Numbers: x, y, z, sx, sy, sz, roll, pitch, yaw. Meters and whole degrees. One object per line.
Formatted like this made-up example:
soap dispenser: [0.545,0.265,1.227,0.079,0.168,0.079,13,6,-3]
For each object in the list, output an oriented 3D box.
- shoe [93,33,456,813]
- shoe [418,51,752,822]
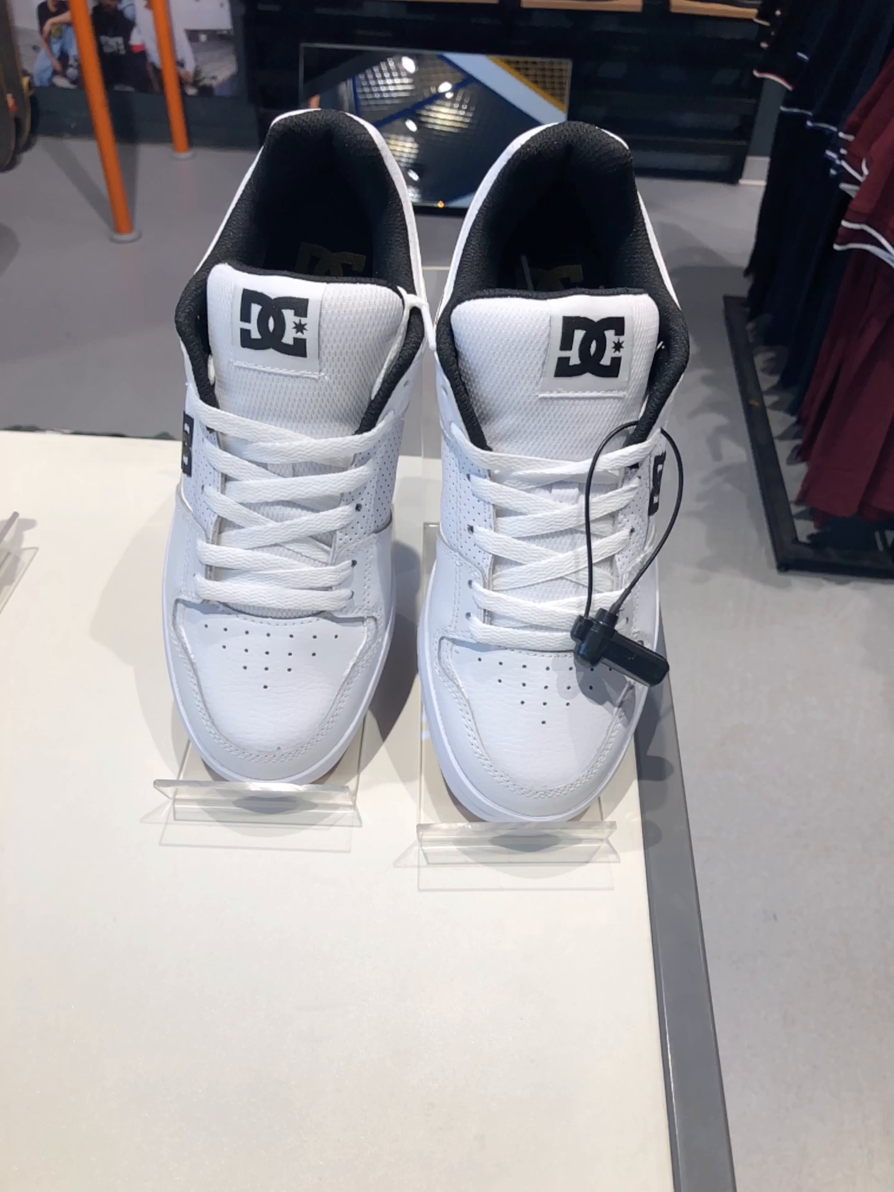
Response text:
shoe: [-0.062,-0.061,0.394,0.103,0.259,0.102,5,5,2]
shoe: [0.044,-0.053,0.381,0.095,0.250,0.102,3,4,-3]
